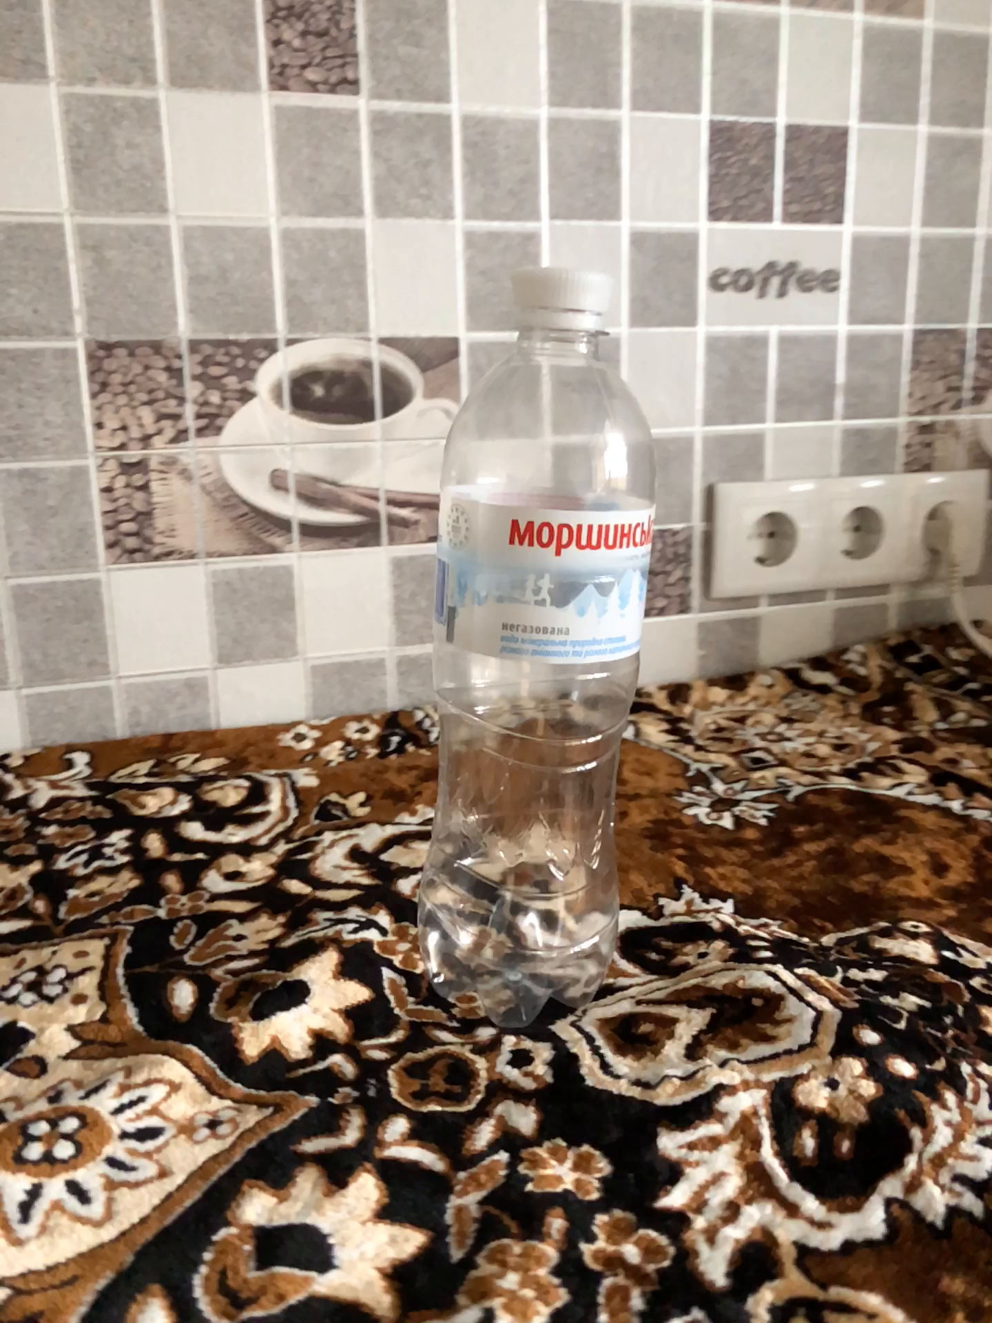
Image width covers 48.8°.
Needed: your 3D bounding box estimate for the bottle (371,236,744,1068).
[{"bbox_3d":[0.012,-0.004,0.370,0.090,0.249,0.080,-3,15,-20],"label":"bottle"}]
